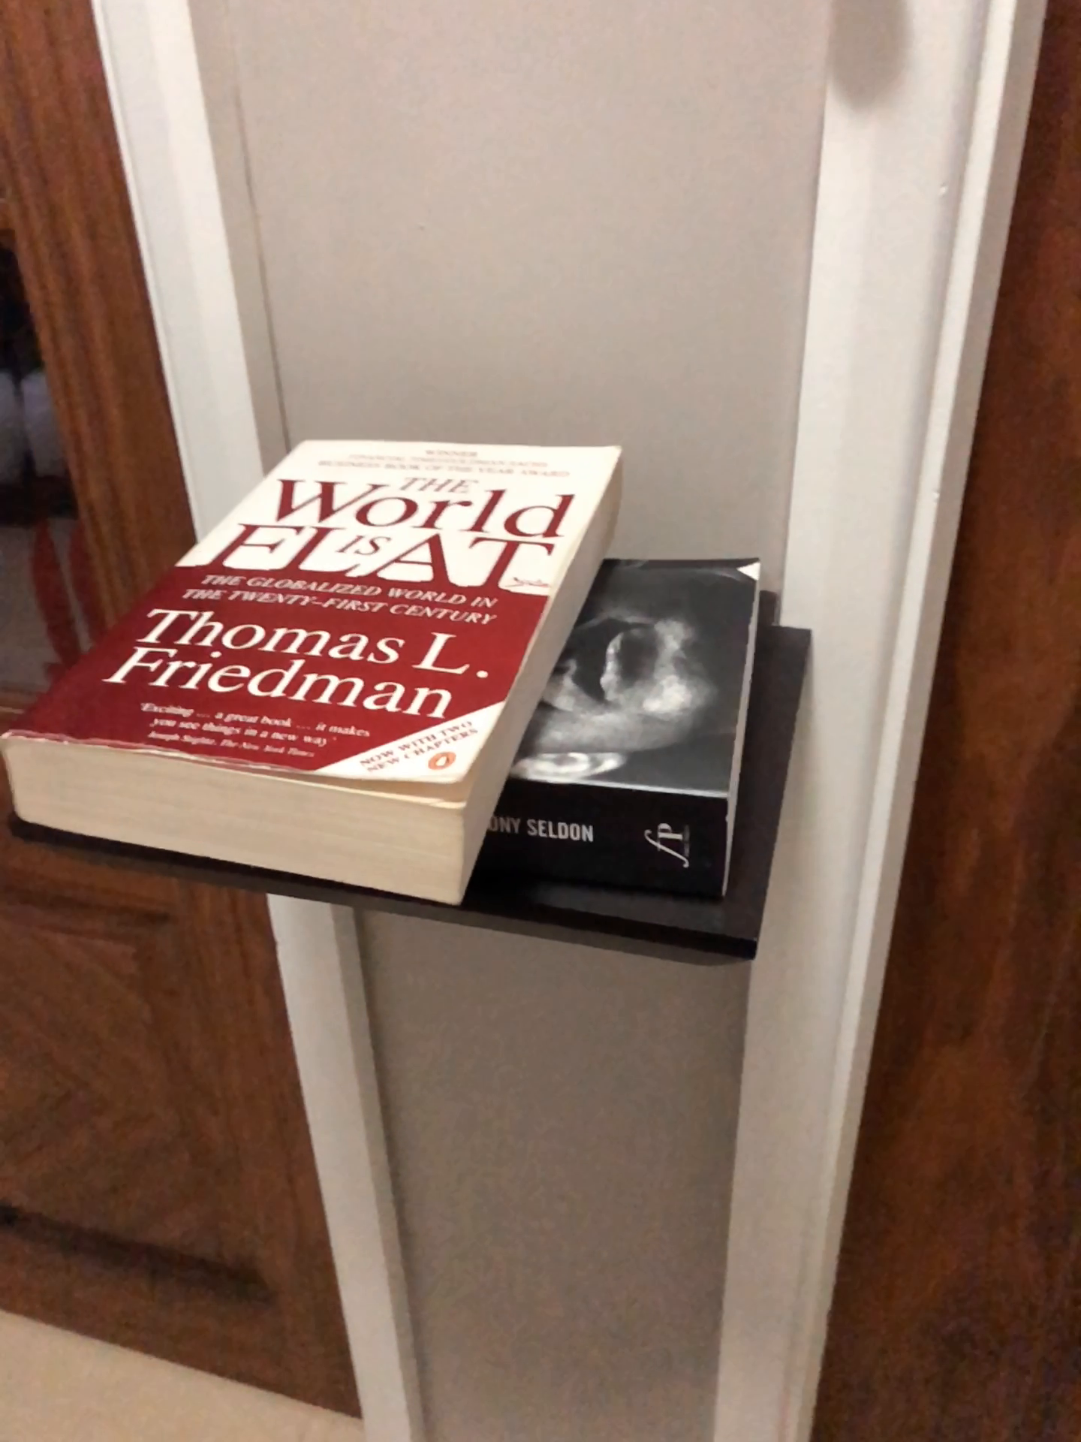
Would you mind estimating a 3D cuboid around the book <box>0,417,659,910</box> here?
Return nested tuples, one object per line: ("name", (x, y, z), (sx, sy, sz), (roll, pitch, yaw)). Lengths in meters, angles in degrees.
("book", (-0.053, -0.037, 0.379), (0.140, 0.040, 0.212), (6, 36, 16))

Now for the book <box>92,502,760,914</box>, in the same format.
("book", (-0.028, -0.015, 0.427), (0.200, 0.040, 0.151), (5, 42, 9))
